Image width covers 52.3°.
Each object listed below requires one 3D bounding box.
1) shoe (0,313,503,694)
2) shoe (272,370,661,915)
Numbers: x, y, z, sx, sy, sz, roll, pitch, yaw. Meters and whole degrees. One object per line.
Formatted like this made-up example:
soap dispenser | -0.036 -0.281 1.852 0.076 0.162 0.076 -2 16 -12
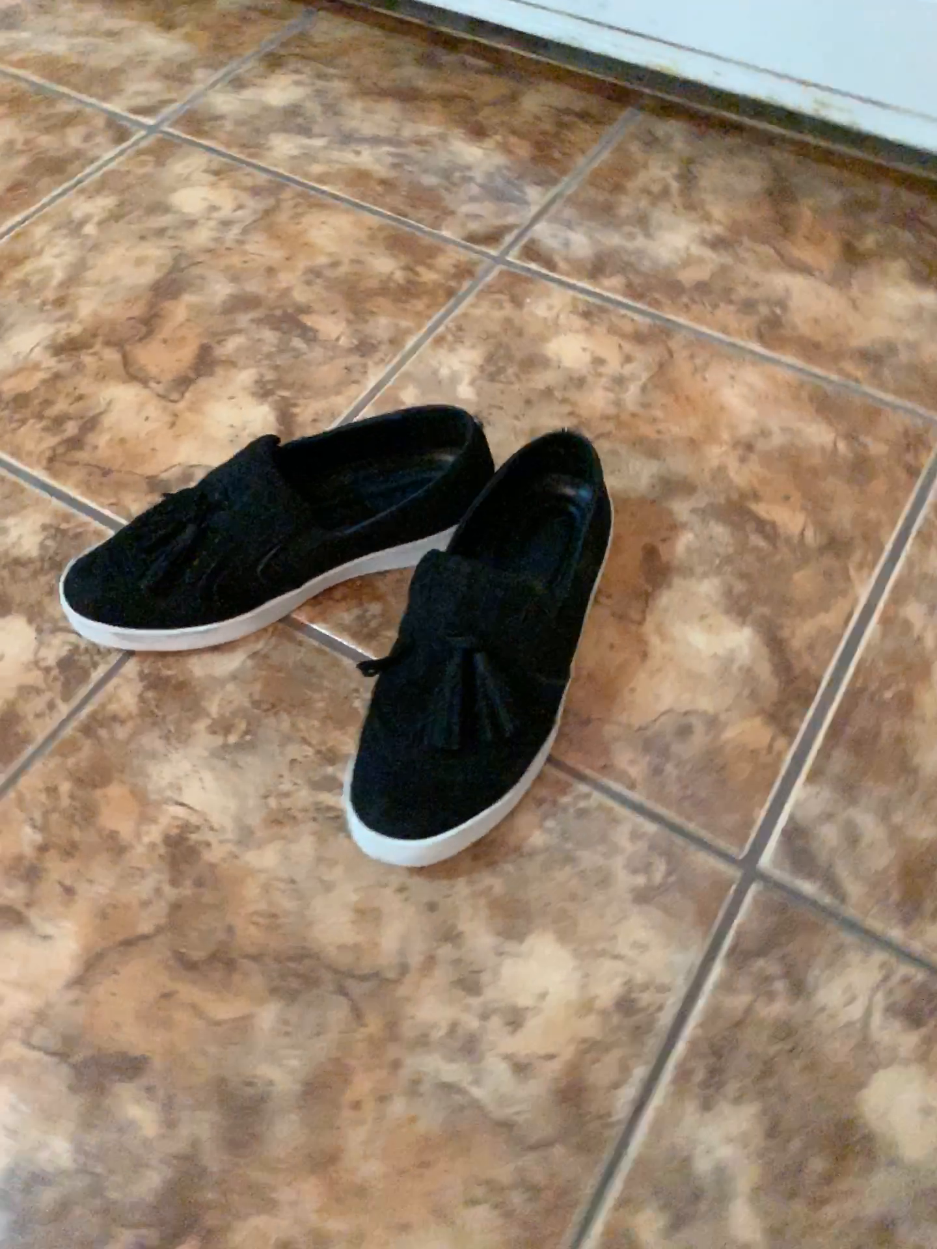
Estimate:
shoe | -0.116 -0.071 0.529 0.250 0.094 0.098 -22 59 -15
shoe | 0.010 -0.001 0.483 0.097 0.094 0.250 18 58 11
